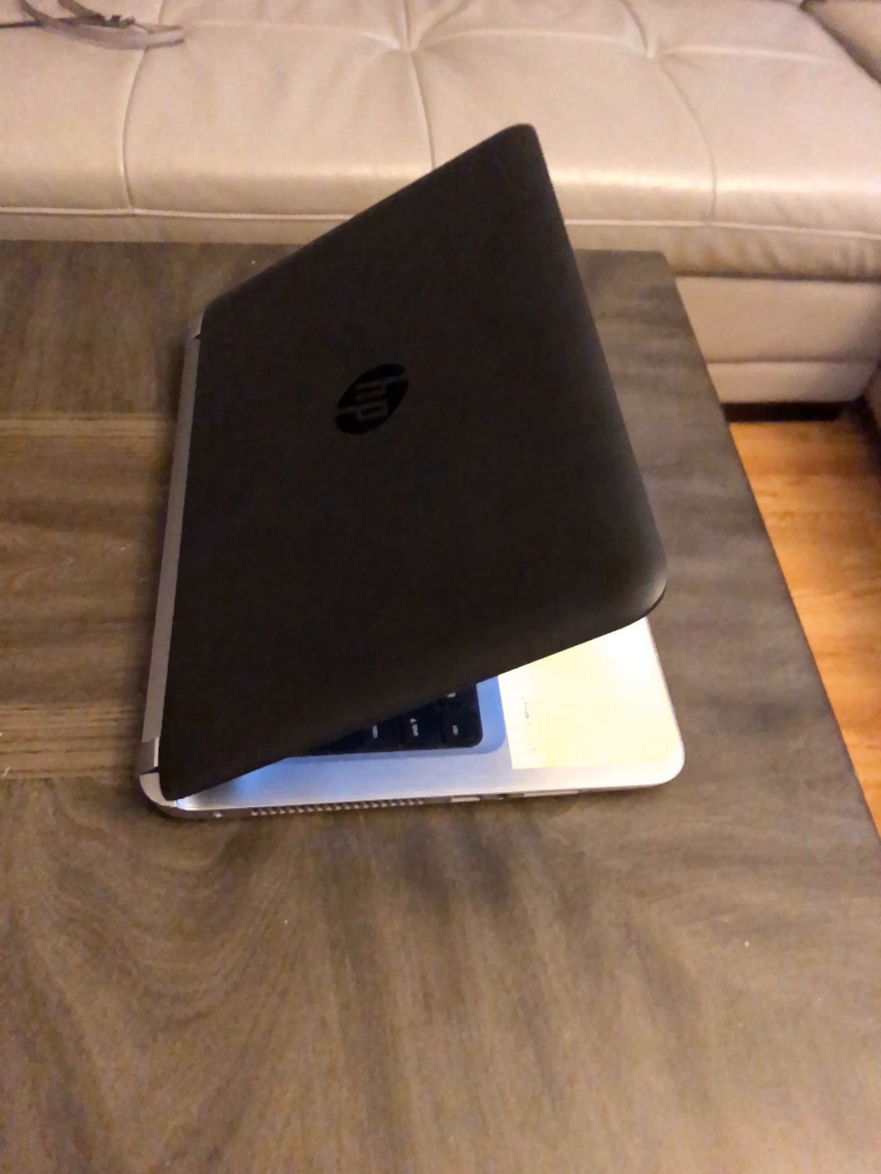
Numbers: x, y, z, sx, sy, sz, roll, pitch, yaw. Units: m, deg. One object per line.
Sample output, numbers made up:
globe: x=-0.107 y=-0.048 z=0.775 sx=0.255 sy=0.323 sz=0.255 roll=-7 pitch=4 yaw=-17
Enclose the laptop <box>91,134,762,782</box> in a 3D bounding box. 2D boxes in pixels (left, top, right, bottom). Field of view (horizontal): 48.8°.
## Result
laptop: x=-0.023 y=-0.084 z=0.481 sx=0.225 sy=0.131 sz=0.325 roll=-2 pitch=50 yaw=-6
